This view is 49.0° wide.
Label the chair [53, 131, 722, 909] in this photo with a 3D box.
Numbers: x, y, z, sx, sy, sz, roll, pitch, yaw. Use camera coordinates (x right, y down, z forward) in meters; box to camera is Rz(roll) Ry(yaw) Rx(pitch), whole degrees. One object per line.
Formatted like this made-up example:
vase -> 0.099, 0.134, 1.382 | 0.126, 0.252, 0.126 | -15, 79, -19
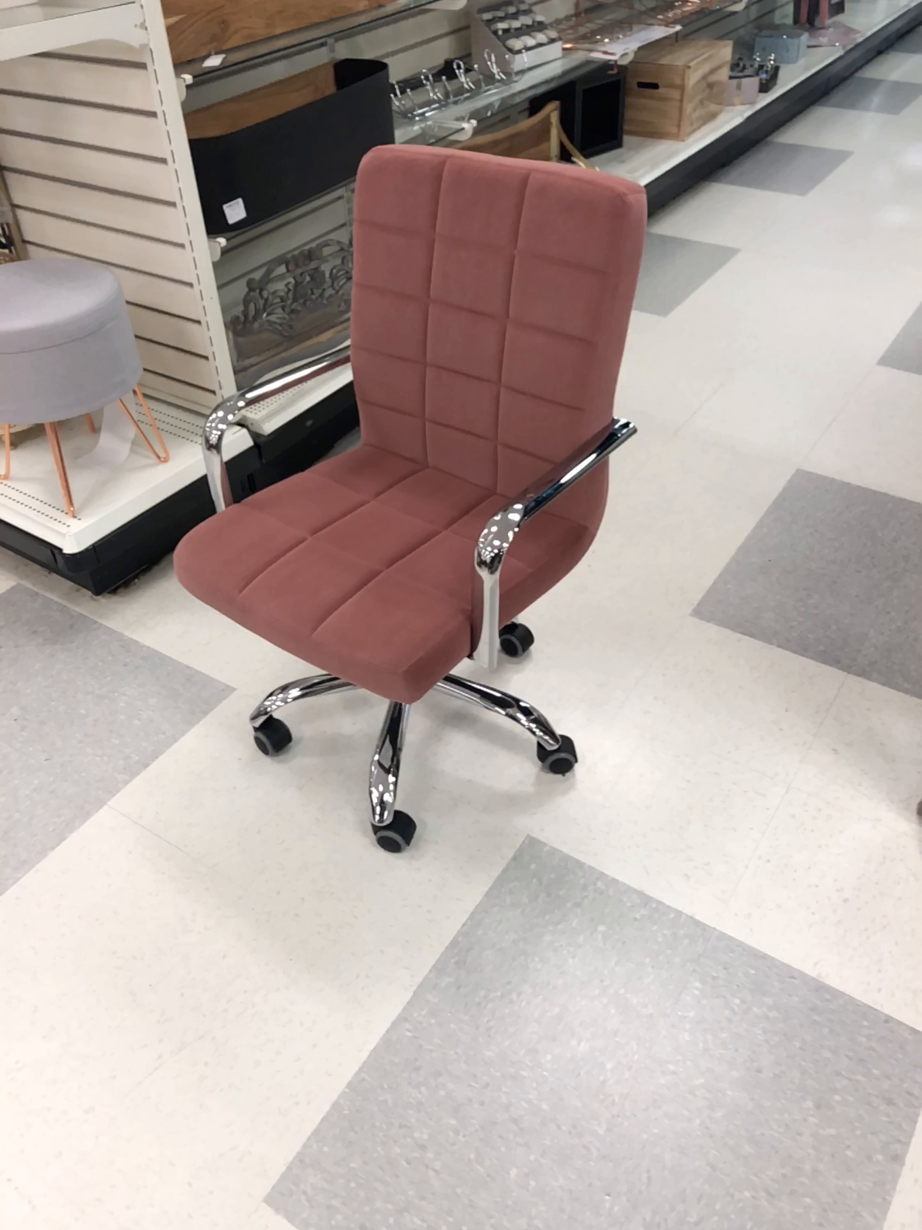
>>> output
chair -> -0.062, -0.155, 1.469 | 0.575, 0.819, 0.564 | 24, 46, 28
